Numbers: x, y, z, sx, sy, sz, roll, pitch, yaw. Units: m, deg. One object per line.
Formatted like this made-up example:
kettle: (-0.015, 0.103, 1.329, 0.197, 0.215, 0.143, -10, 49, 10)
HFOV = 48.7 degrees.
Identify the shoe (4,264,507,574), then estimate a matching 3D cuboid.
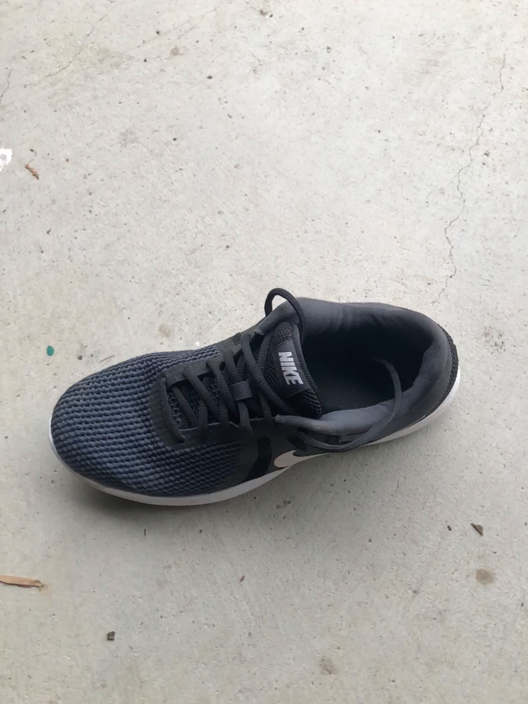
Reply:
shoe: (-0.009, 0.048, 0.410, 0.290, 0.100, 0.130, -13, 76, -1)
